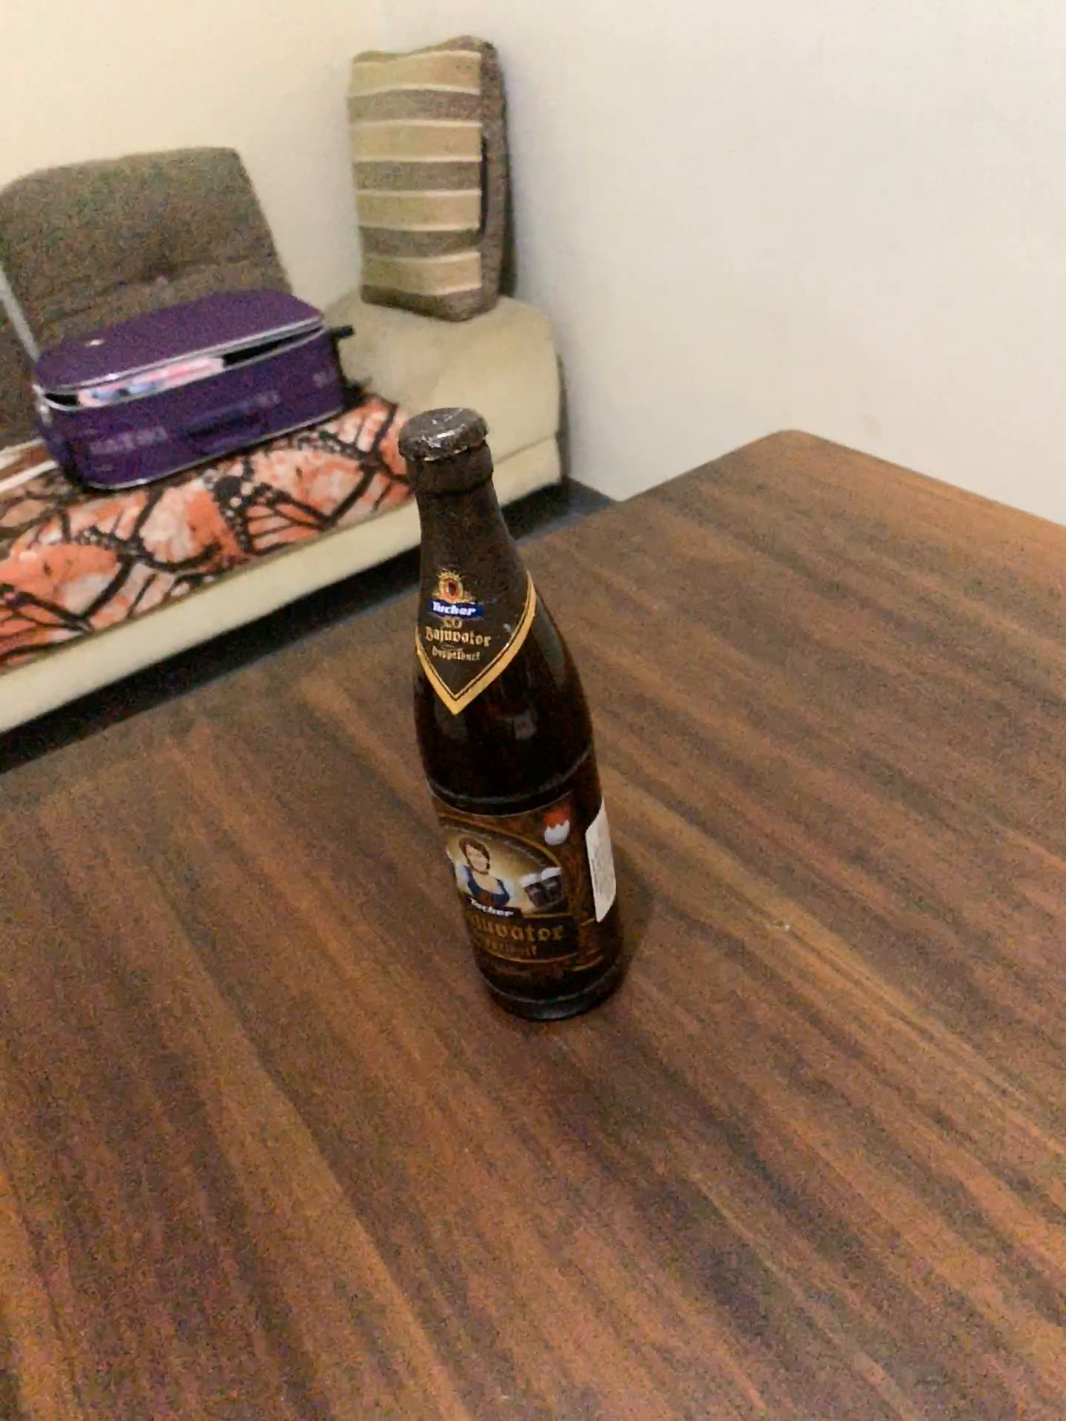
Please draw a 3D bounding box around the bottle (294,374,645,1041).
[{"bbox_3d":[-0.012,0.011,0.431,0.070,0.269,0.060,10,40,26],"label":"bottle"}]
